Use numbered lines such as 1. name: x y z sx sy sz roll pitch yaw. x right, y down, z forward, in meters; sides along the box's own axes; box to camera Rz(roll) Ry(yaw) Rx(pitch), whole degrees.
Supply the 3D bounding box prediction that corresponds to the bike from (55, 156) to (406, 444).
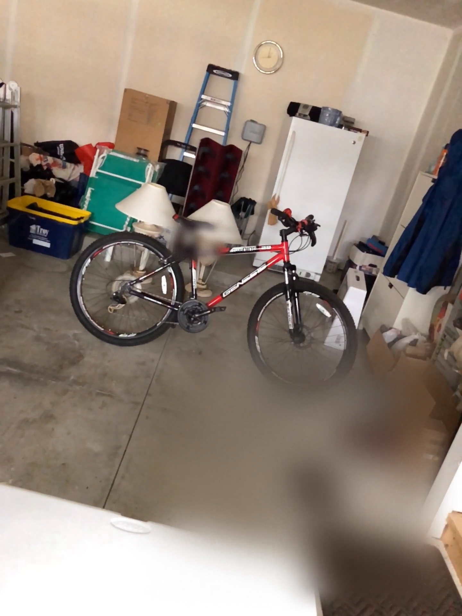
1. bike: -0.094 -0.104 2.941 1.668 1.054 0.591 17 19 5
